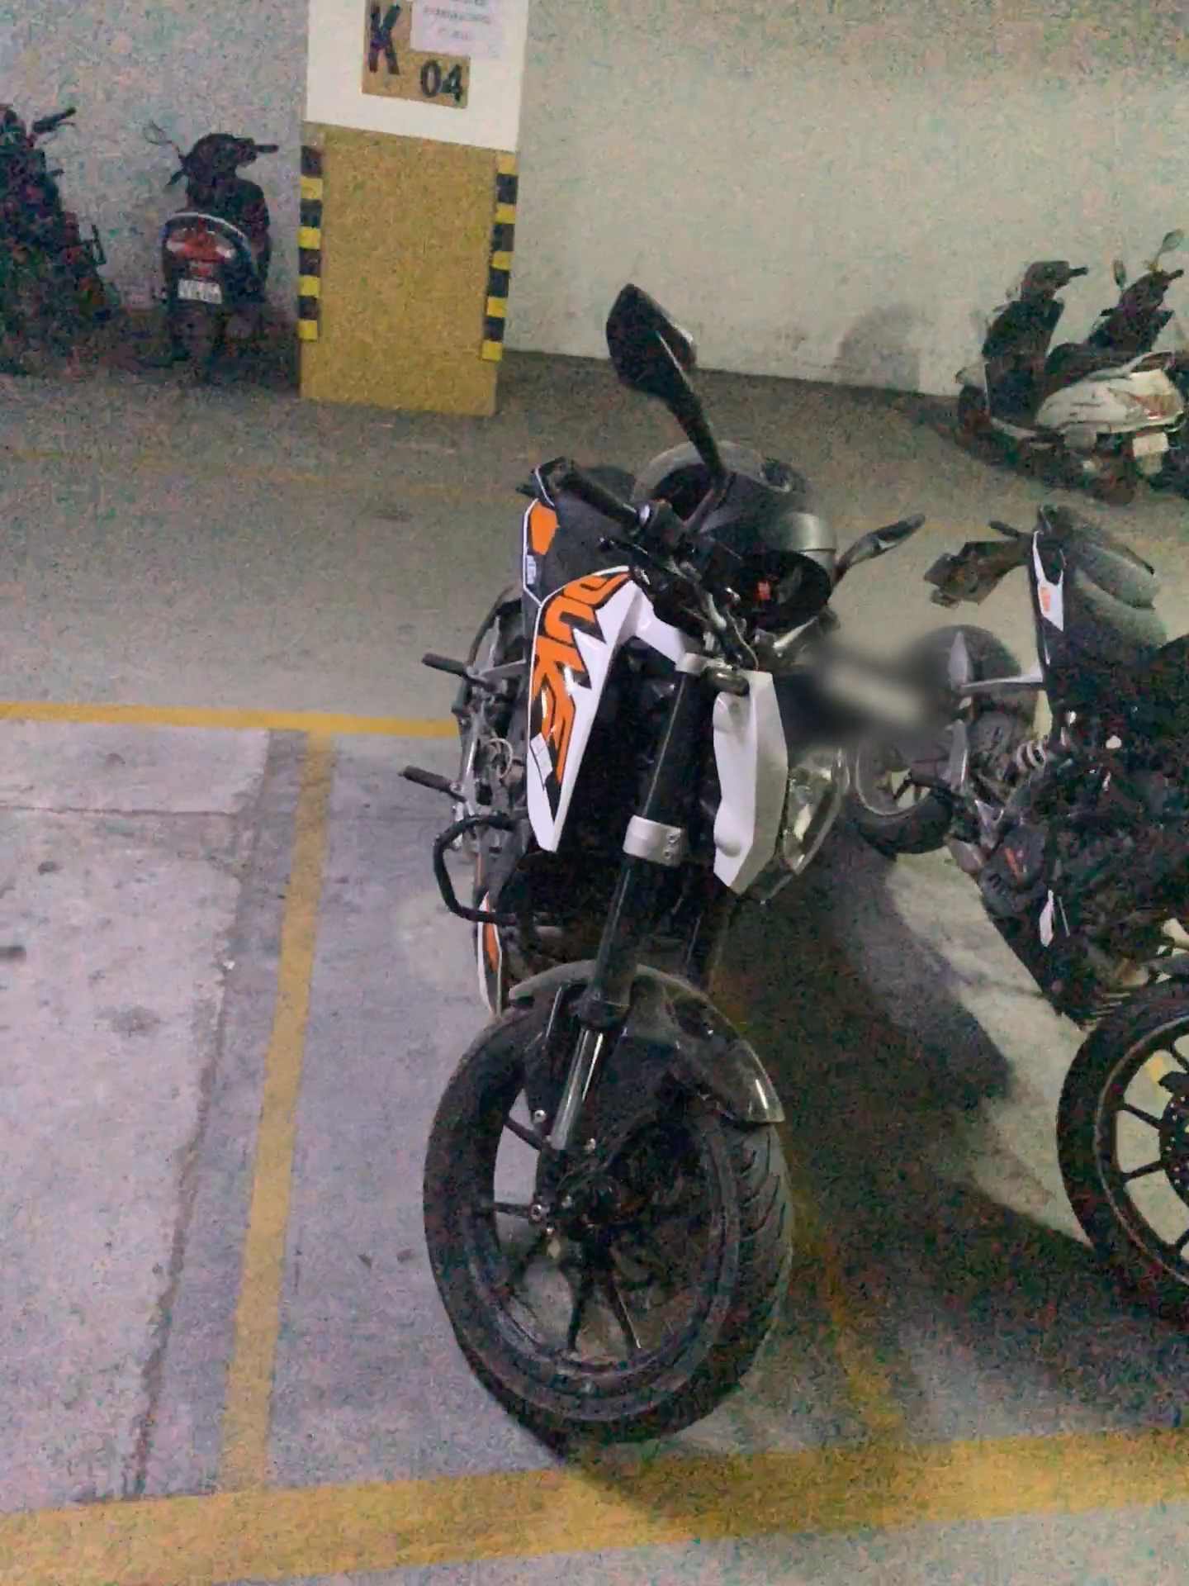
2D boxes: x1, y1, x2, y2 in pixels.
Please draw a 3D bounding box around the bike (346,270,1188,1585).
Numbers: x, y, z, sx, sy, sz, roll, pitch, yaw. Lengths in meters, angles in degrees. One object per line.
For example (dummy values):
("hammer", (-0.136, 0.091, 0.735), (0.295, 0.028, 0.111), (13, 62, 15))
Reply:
("bike", (0.006, -0.023, 2.183), (0.803, 1.181, 1.922), (2, 34, -12))
